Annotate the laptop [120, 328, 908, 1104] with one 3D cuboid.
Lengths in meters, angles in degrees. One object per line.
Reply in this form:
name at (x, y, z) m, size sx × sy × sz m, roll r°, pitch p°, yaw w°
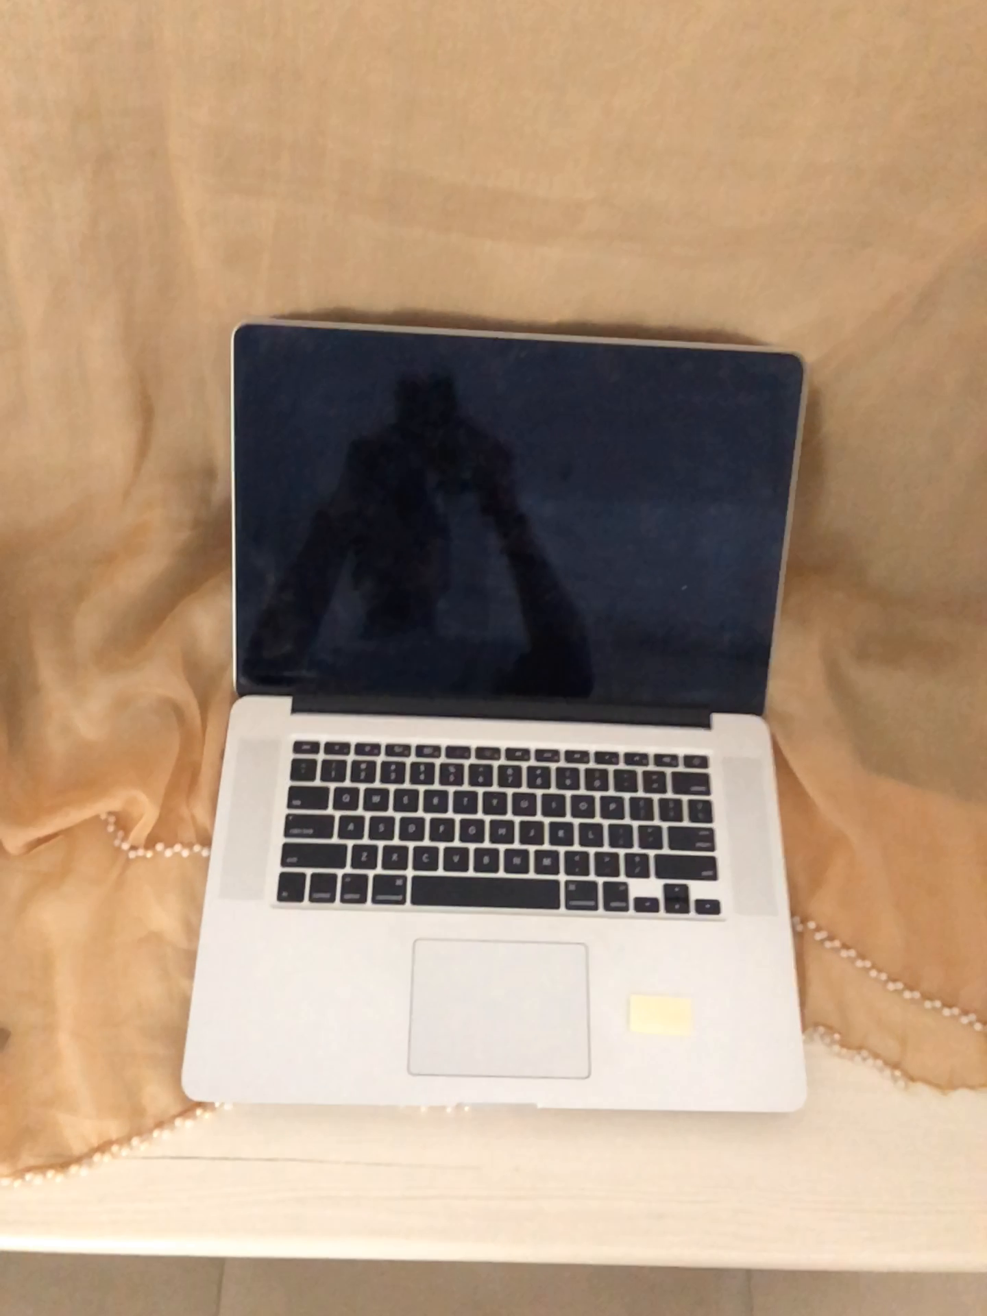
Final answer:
laptop at (0.011, 0.027, 0.610) m, size 0.336 × 0.135 × 0.406 m, roll 2°, pitch 65°, yaw -3°
